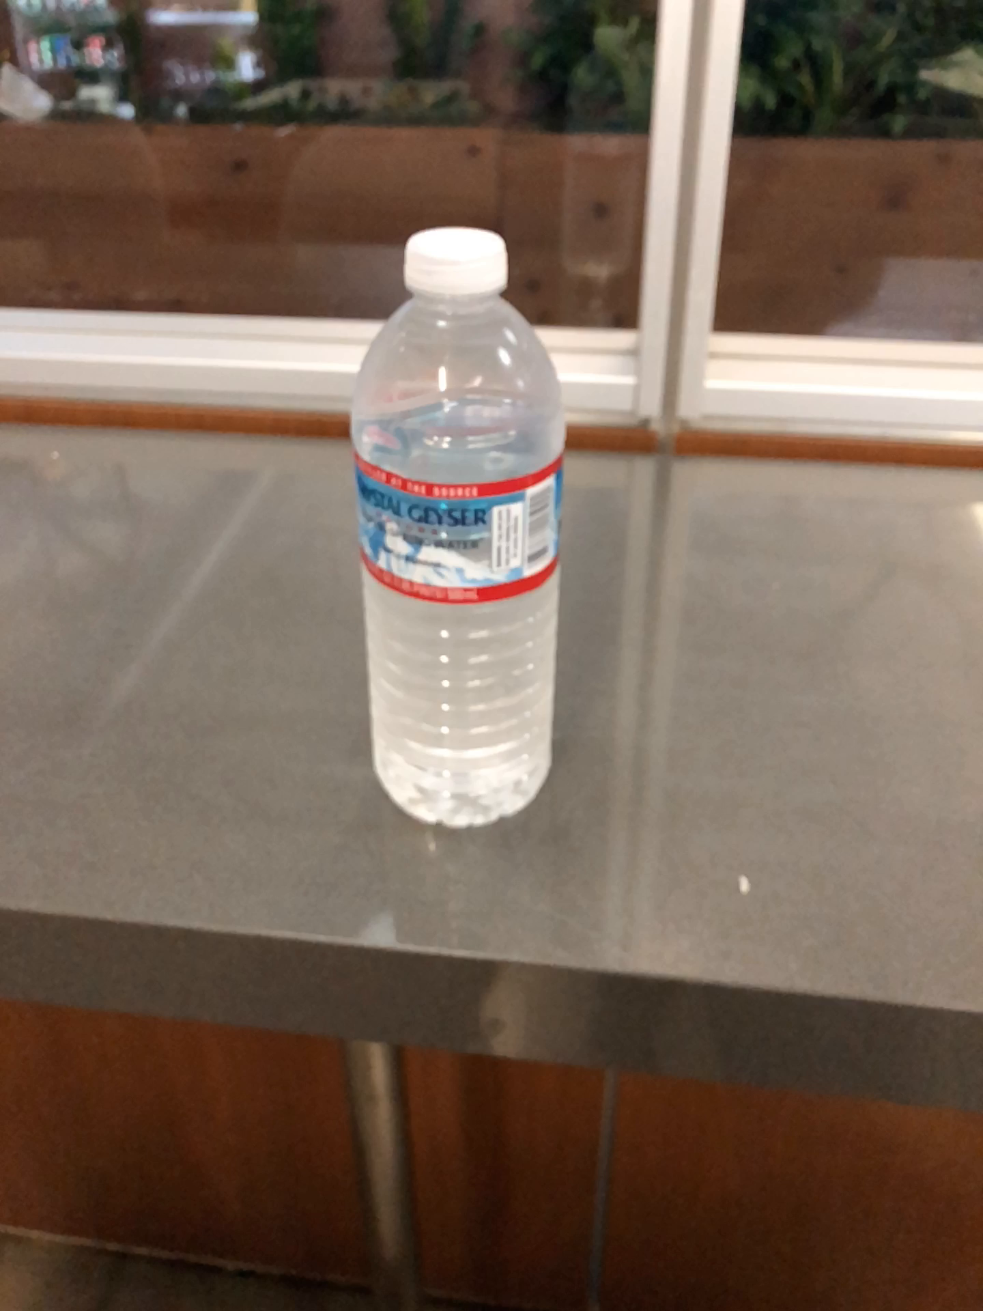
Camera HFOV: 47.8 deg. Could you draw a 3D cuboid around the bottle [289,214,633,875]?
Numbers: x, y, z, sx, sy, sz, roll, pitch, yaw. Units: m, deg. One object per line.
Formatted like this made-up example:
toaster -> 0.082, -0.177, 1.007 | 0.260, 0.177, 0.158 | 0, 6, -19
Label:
bottle -> -0.005, -0.032, 0.356 | 0.070, 0.189, 0.070 | 0, 33, 0
